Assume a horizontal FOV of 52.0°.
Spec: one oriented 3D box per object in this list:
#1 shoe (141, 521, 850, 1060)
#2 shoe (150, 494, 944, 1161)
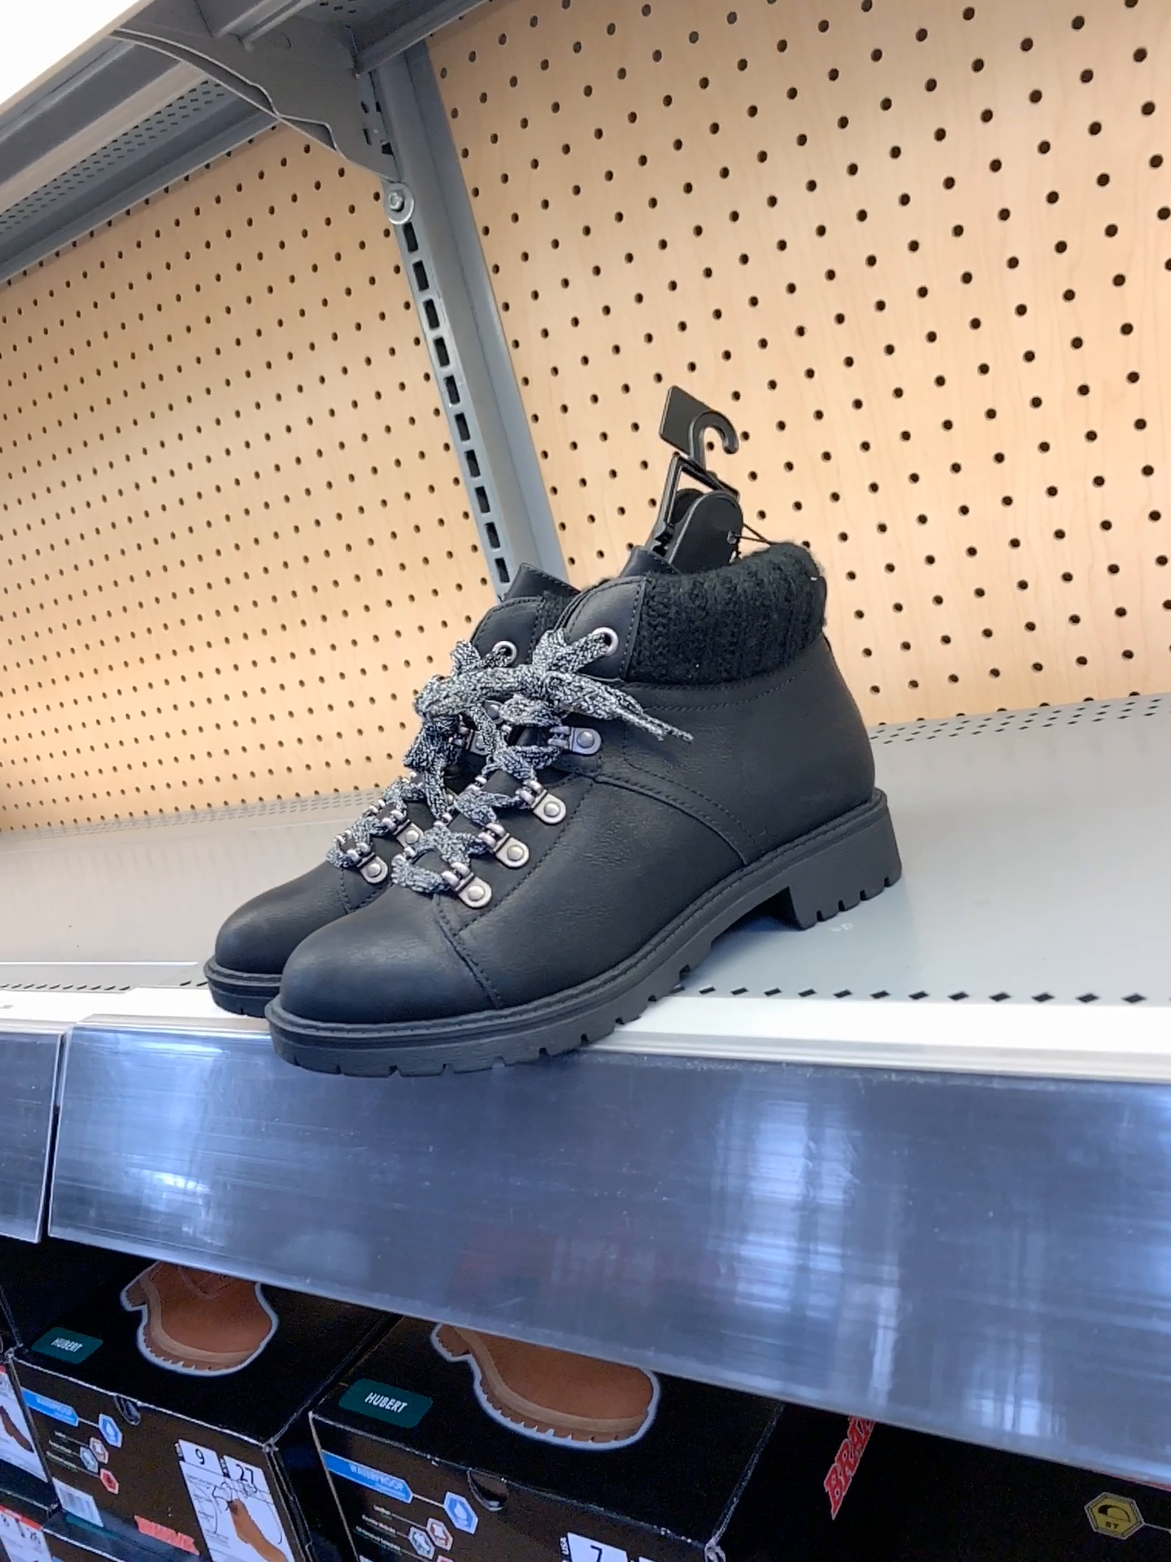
[{"bbox_3d":[-0.035,-0.007,0.492,0.235,0.137,0.104,-17,13,-10],"label":"shoe"},{"bbox_3d":[-0.005,0.000,0.422,0.231,0.137,0.105,-22,15,-28],"label":"shoe"}]
